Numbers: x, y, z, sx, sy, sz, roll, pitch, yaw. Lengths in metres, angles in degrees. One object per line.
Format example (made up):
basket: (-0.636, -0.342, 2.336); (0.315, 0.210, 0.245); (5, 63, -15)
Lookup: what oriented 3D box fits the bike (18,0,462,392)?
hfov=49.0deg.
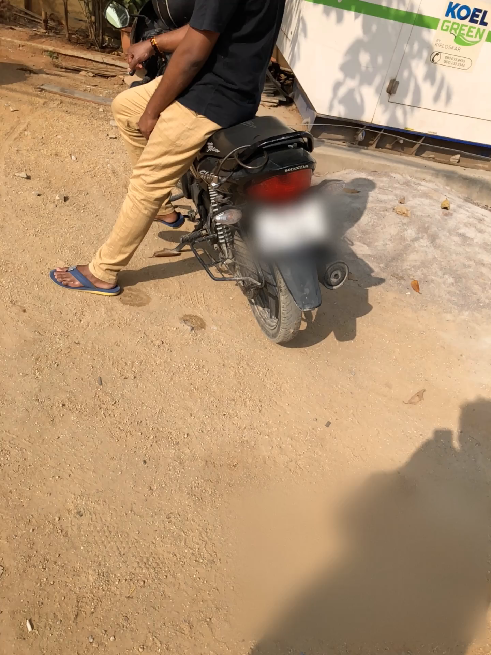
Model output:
bike: (-0.269, -0.832, 2.267); (0.882, 1.213, 1.696); (-10, 41, -29)
